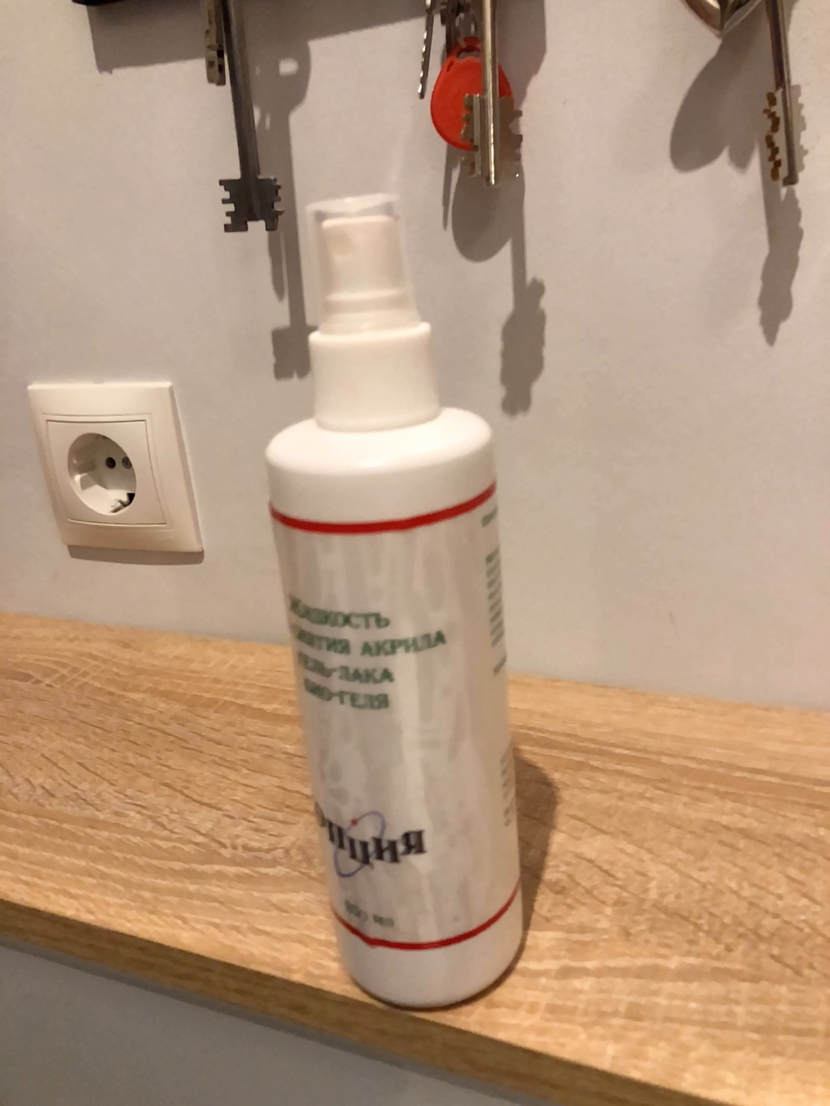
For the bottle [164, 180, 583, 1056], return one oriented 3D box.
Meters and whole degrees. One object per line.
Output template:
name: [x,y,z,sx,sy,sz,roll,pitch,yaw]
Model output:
bottle: [0.000,0.015,0.213,0.056,0.183,0.060,-5,20,2]
